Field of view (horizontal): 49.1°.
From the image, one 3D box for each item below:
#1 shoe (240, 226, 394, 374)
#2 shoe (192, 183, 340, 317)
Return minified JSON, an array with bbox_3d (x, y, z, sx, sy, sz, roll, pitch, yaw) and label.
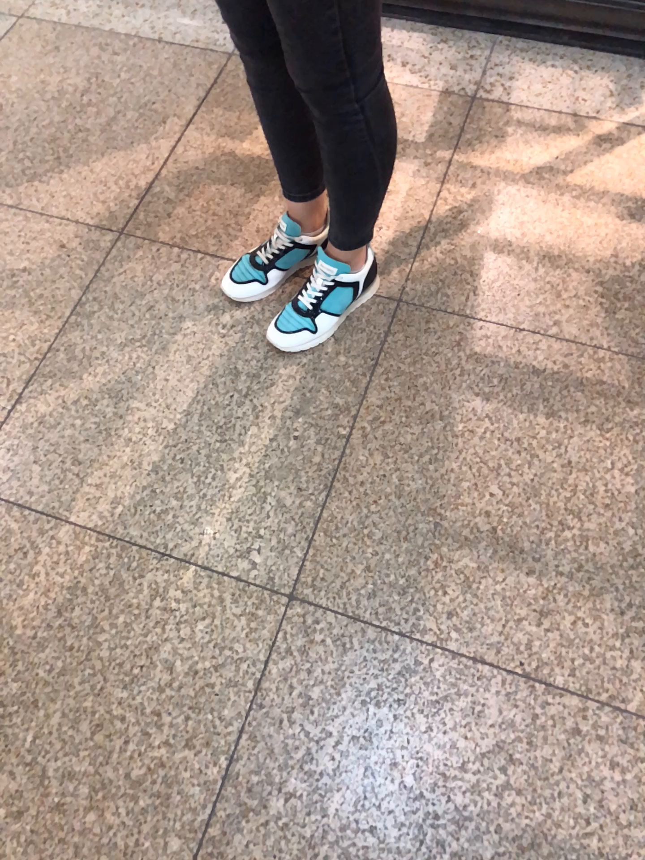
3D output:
[{"bbox_3d":[-0.005,-0.231,1.249,0.250,0.100,0.110,-37,65,-15],"label":"shoe"},{"bbox_3d":[-0.099,-0.331,1.295,0.240,0.100,0.107,-33,64,-14],"label":"shoe"}]
